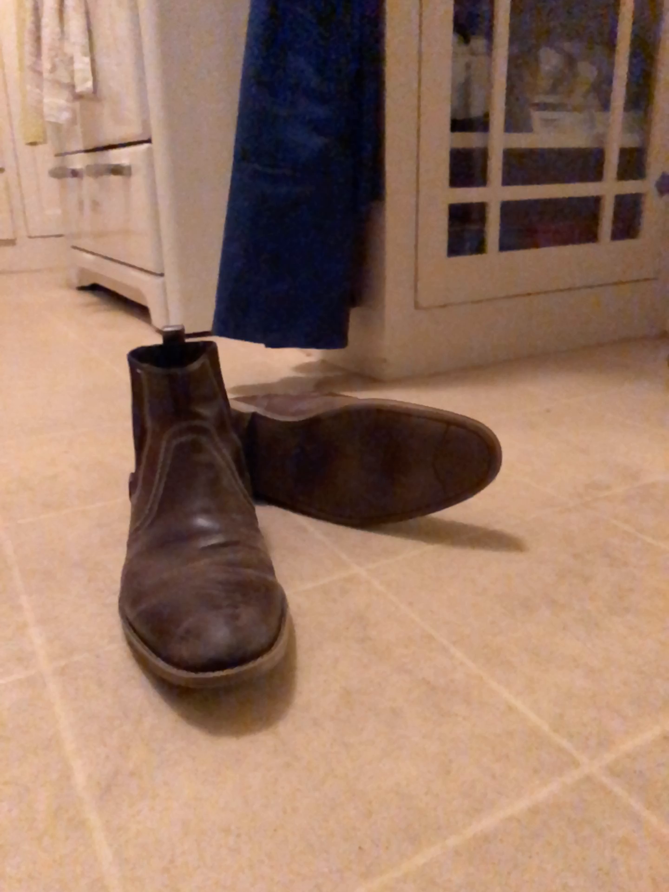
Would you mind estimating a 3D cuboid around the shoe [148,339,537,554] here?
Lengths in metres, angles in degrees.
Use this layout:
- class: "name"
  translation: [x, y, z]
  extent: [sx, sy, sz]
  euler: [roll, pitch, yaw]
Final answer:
- class: "shoe"
  translation: [0.006, -0.017, 0.685]
  extent: [0.313, 0.111, 0.162]
  euler: [10, 21, 28]

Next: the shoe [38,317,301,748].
- class: "shoe"
  translation: [-0.102, 0.022, 0.505]
  extent: [0.111, 0.160, 0.314]
  euler: [-4, 20, -9]
